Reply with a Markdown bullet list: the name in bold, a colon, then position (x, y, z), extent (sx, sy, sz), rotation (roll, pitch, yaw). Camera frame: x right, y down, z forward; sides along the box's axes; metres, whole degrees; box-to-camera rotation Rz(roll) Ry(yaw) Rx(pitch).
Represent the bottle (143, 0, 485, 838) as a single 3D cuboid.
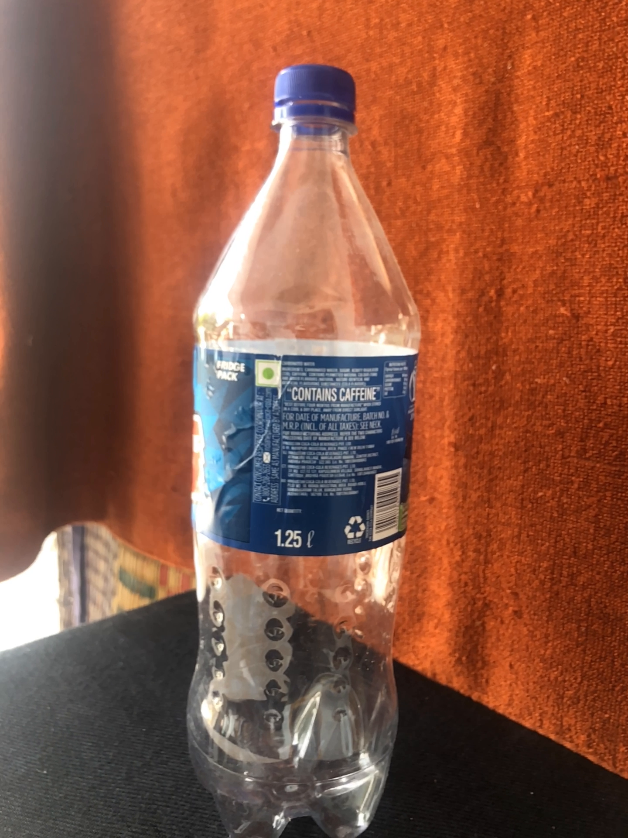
- **bottle**: position (-0.003, 0.005, 0.264), extent (0.090, 0.289, 0.100), rotation (1, 12, 0)
